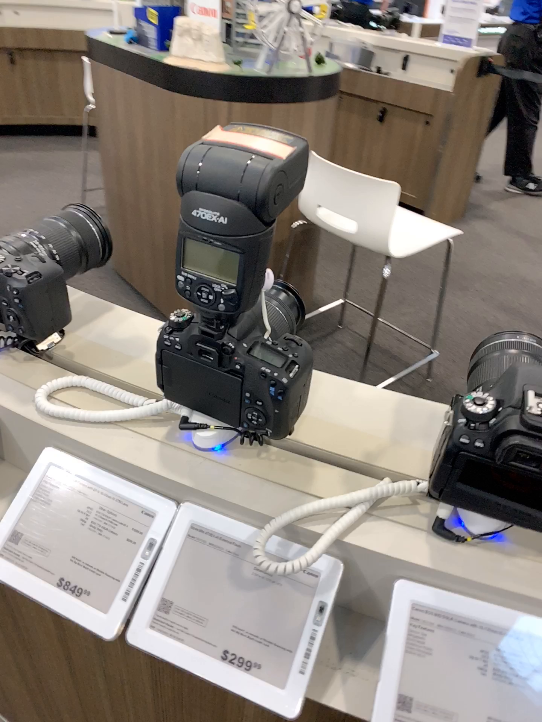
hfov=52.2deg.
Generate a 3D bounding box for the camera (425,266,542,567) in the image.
[{"bbox_3d":[0.214,0.027,0.427,0.140,0.099,0.191,16,38,14],"label":"camera"}]

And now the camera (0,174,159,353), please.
[{"bbox_3d":[-0.247,-0.122,0.628,0.140,0.099,0.201,20,39,19],"label":"camera"}]

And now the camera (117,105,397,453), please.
[{"bbox_3d":[-0.009,-0.079,0.483,0.150,0.219,0.171,20,39,19],"label":"camera"}]

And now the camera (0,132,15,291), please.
[{"bbox_3d":[-0.460,-0.199,0.705,0.150,0.119,0.171,27,42,27],"label":"camera"}]
